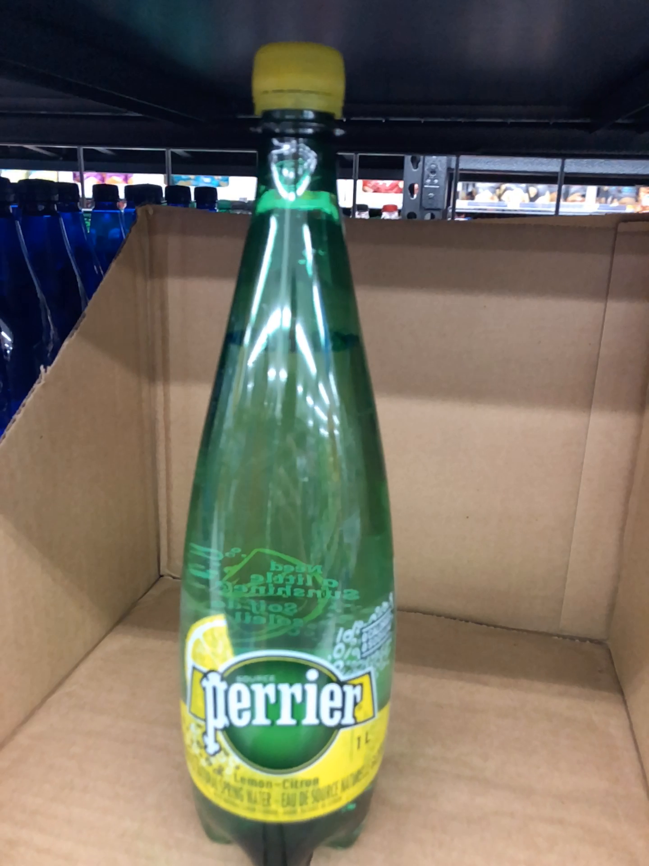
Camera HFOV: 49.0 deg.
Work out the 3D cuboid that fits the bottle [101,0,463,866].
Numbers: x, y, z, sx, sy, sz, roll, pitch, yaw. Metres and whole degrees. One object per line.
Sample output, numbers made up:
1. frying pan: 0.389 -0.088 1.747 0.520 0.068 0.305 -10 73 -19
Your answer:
1. bottle: -0.014 0.018 0.279 0.100 0.318 0.080 3 17 5
